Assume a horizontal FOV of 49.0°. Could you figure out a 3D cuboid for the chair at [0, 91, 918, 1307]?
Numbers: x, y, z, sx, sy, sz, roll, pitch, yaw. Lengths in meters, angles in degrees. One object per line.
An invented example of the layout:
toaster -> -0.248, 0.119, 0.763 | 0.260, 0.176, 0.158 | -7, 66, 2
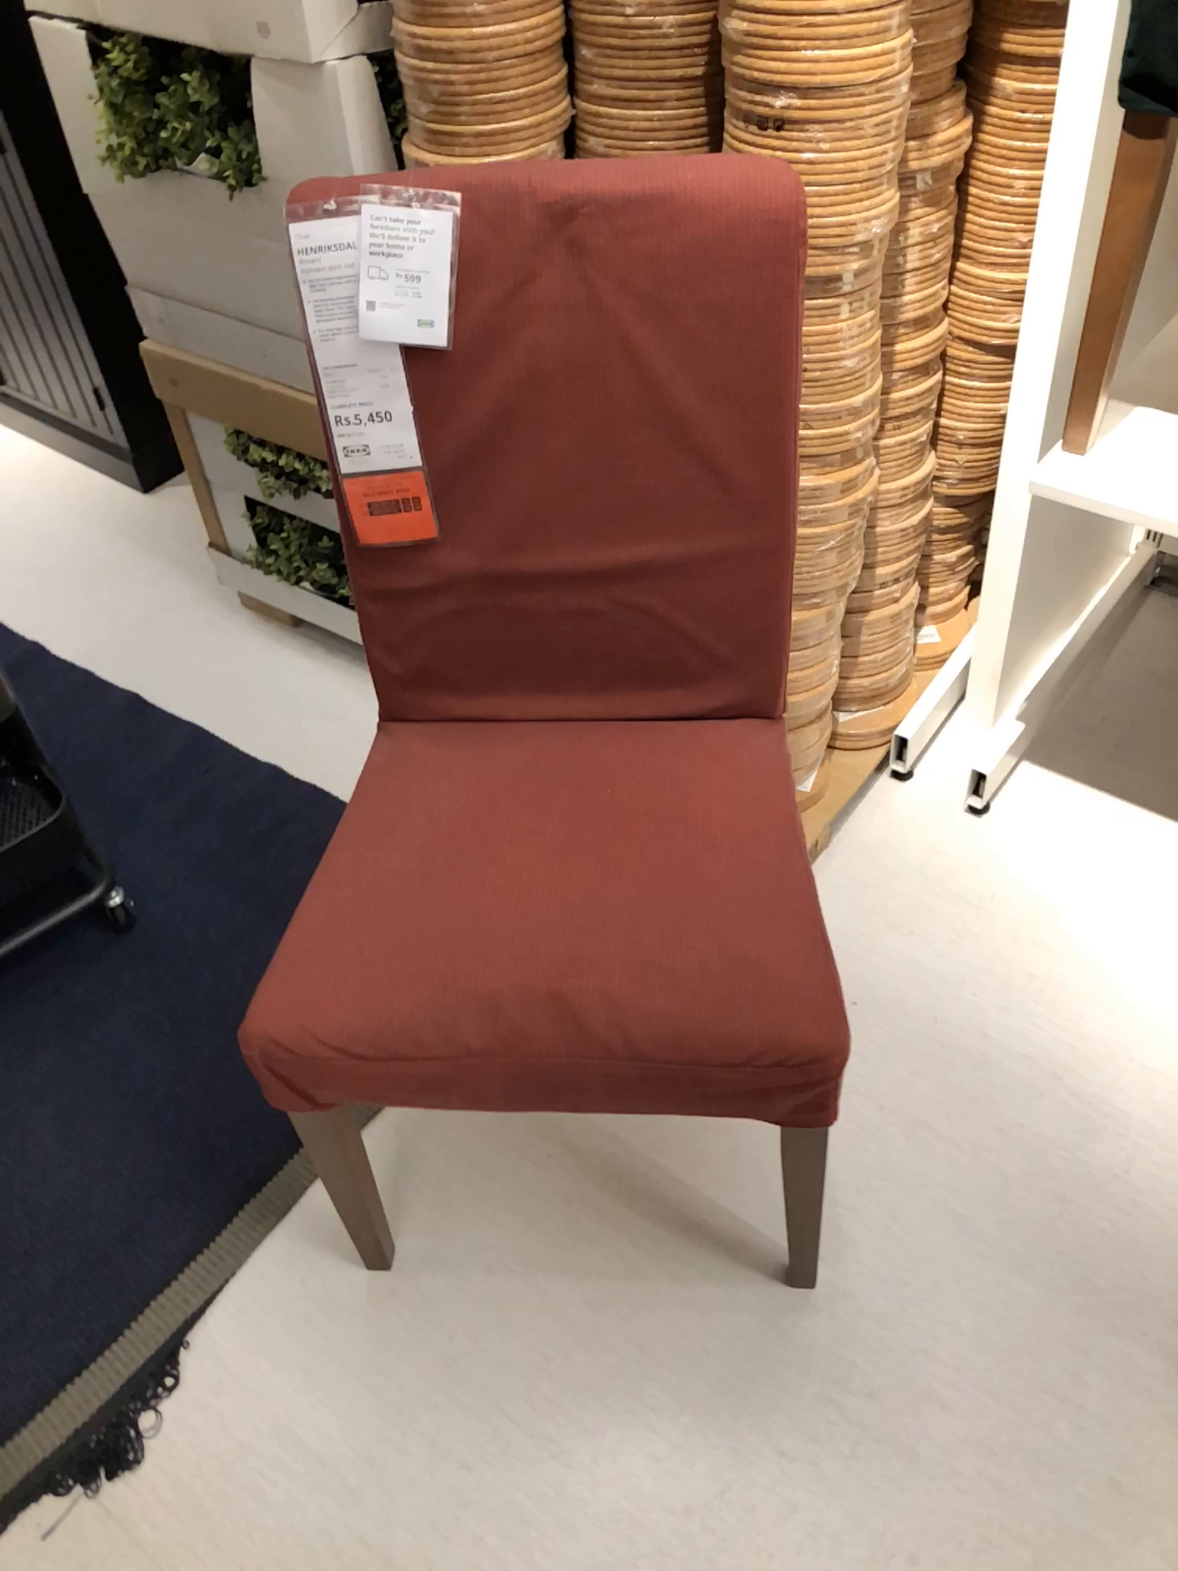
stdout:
chair -> -0.031, 0.000, 1.201 | 0.520, 0.994, 0.533 | 0, 46, 7
